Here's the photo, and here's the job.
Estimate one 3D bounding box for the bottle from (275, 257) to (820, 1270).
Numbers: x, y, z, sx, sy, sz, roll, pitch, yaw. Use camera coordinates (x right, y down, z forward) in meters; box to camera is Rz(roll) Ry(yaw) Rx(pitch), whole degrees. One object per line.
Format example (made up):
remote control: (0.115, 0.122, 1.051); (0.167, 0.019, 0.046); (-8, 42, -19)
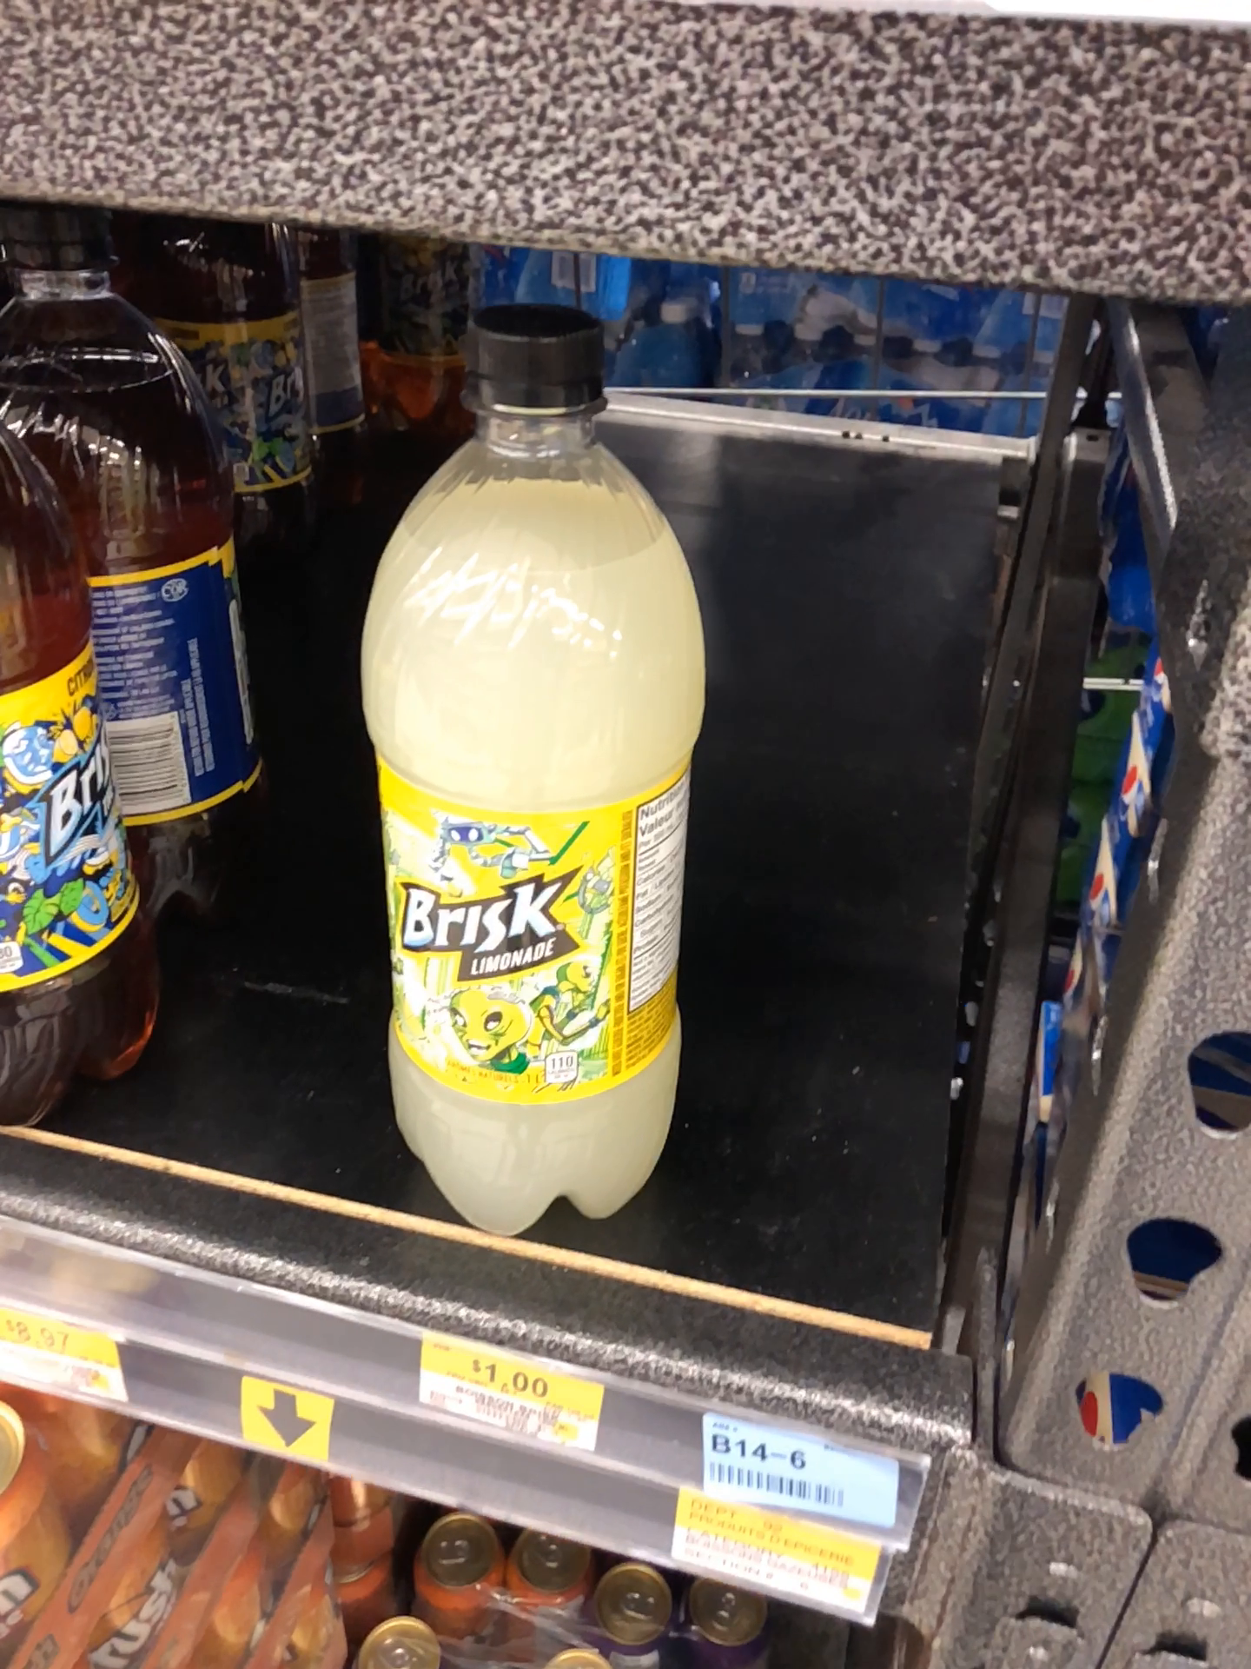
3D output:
bottle: (-0.016, -0.012, 0.349); (0.090, 0.228, 0.091); (2, 33, -1)
